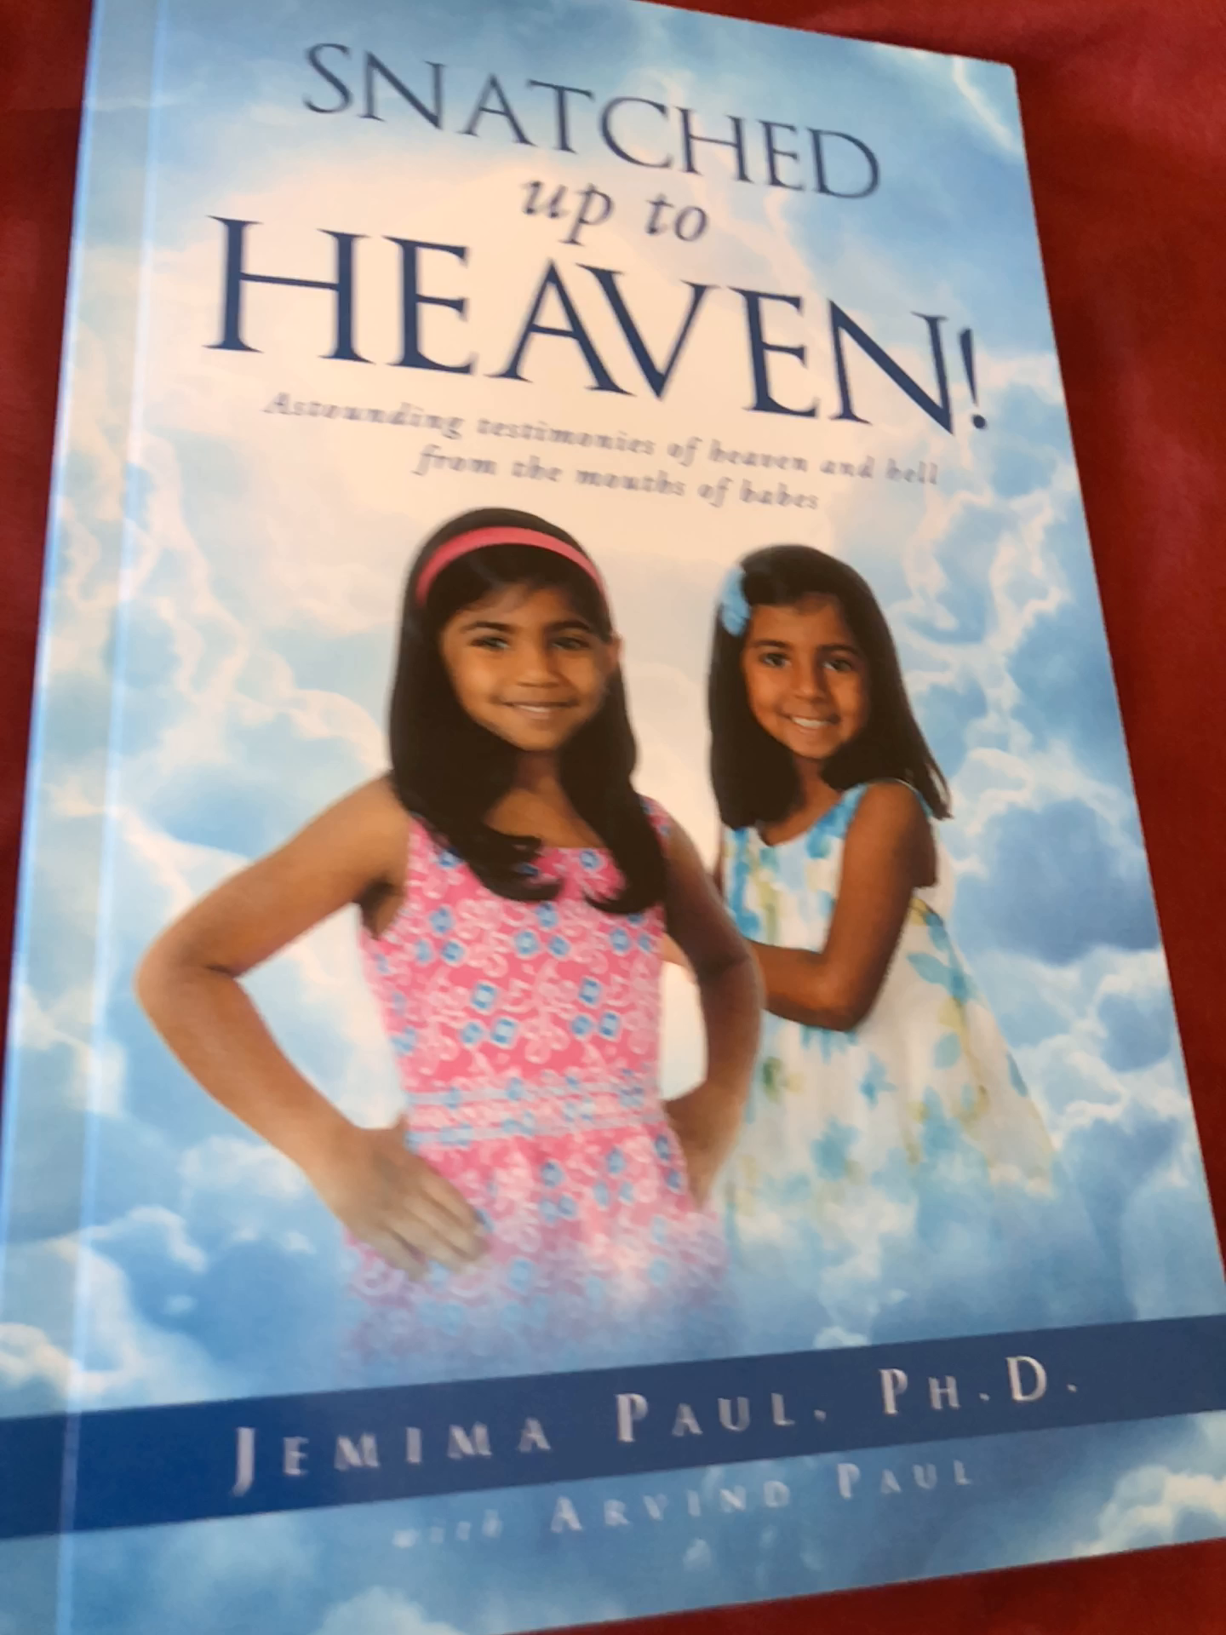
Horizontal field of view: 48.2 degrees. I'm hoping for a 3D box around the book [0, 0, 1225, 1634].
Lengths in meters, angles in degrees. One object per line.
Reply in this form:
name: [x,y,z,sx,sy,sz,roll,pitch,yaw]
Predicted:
book: [-0.001,-0.017,0.177,0.140,0.020,0.212,2,72,-14]
